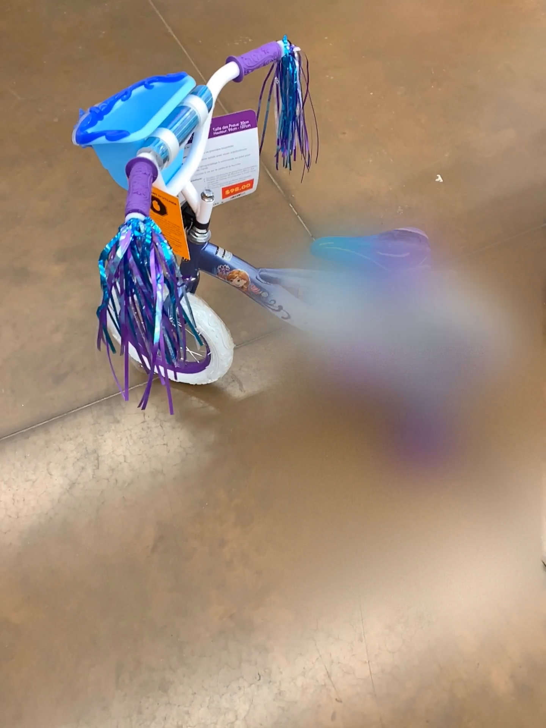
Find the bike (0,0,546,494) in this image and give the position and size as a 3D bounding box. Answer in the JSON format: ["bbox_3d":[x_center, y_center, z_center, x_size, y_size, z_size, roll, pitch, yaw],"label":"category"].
[{"bbox_3d":[0.060,-0.149,0.917,0.804,0.634,0.441,7,58,2],"label":"bike"}]
